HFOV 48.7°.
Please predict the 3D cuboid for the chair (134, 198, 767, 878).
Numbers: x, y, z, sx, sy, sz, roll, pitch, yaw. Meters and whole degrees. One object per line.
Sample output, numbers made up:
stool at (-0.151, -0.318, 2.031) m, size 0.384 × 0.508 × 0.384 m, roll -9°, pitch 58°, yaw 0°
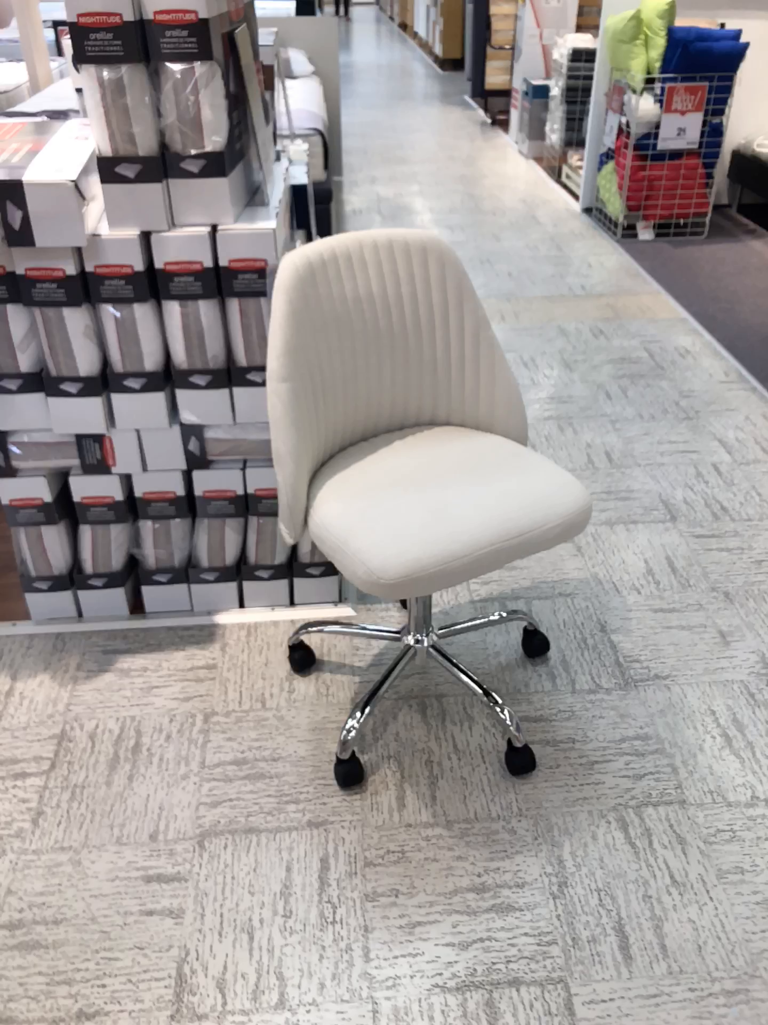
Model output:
chair at (0.094, -0.027, 1.477) m, size 0.703 × 0.785 × 0.631 m, roll -24°, pitch 39°, yaw -31°
